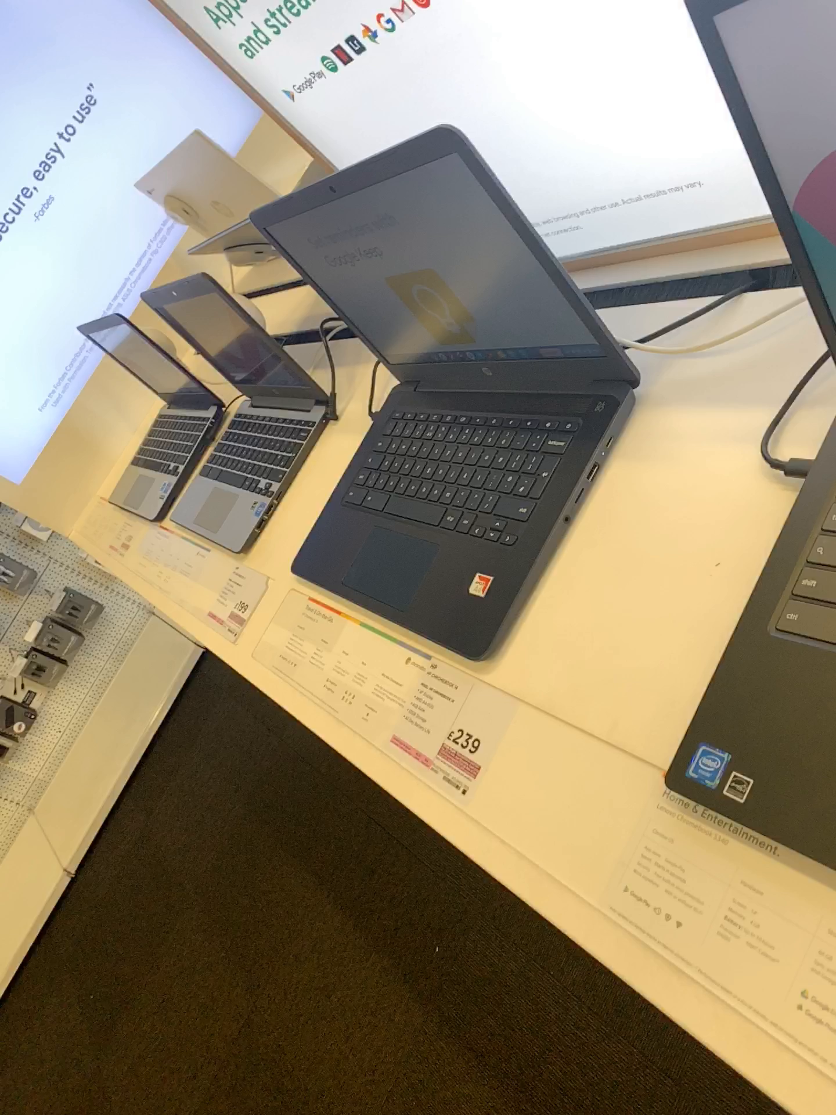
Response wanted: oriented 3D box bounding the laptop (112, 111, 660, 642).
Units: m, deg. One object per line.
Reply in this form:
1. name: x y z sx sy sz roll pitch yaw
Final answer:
1. laptop: -0.049 -0.127 0.672 0.333 0.209 0.244 18 76 58

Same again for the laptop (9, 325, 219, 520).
1. laptop: -0.486 -0.210 1.341 0.336 0.189 0.191 19 78 59

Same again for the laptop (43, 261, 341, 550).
1. laptop: -0.283 -0.182 1.040 0.272 0.186 0.241 15 75 56
